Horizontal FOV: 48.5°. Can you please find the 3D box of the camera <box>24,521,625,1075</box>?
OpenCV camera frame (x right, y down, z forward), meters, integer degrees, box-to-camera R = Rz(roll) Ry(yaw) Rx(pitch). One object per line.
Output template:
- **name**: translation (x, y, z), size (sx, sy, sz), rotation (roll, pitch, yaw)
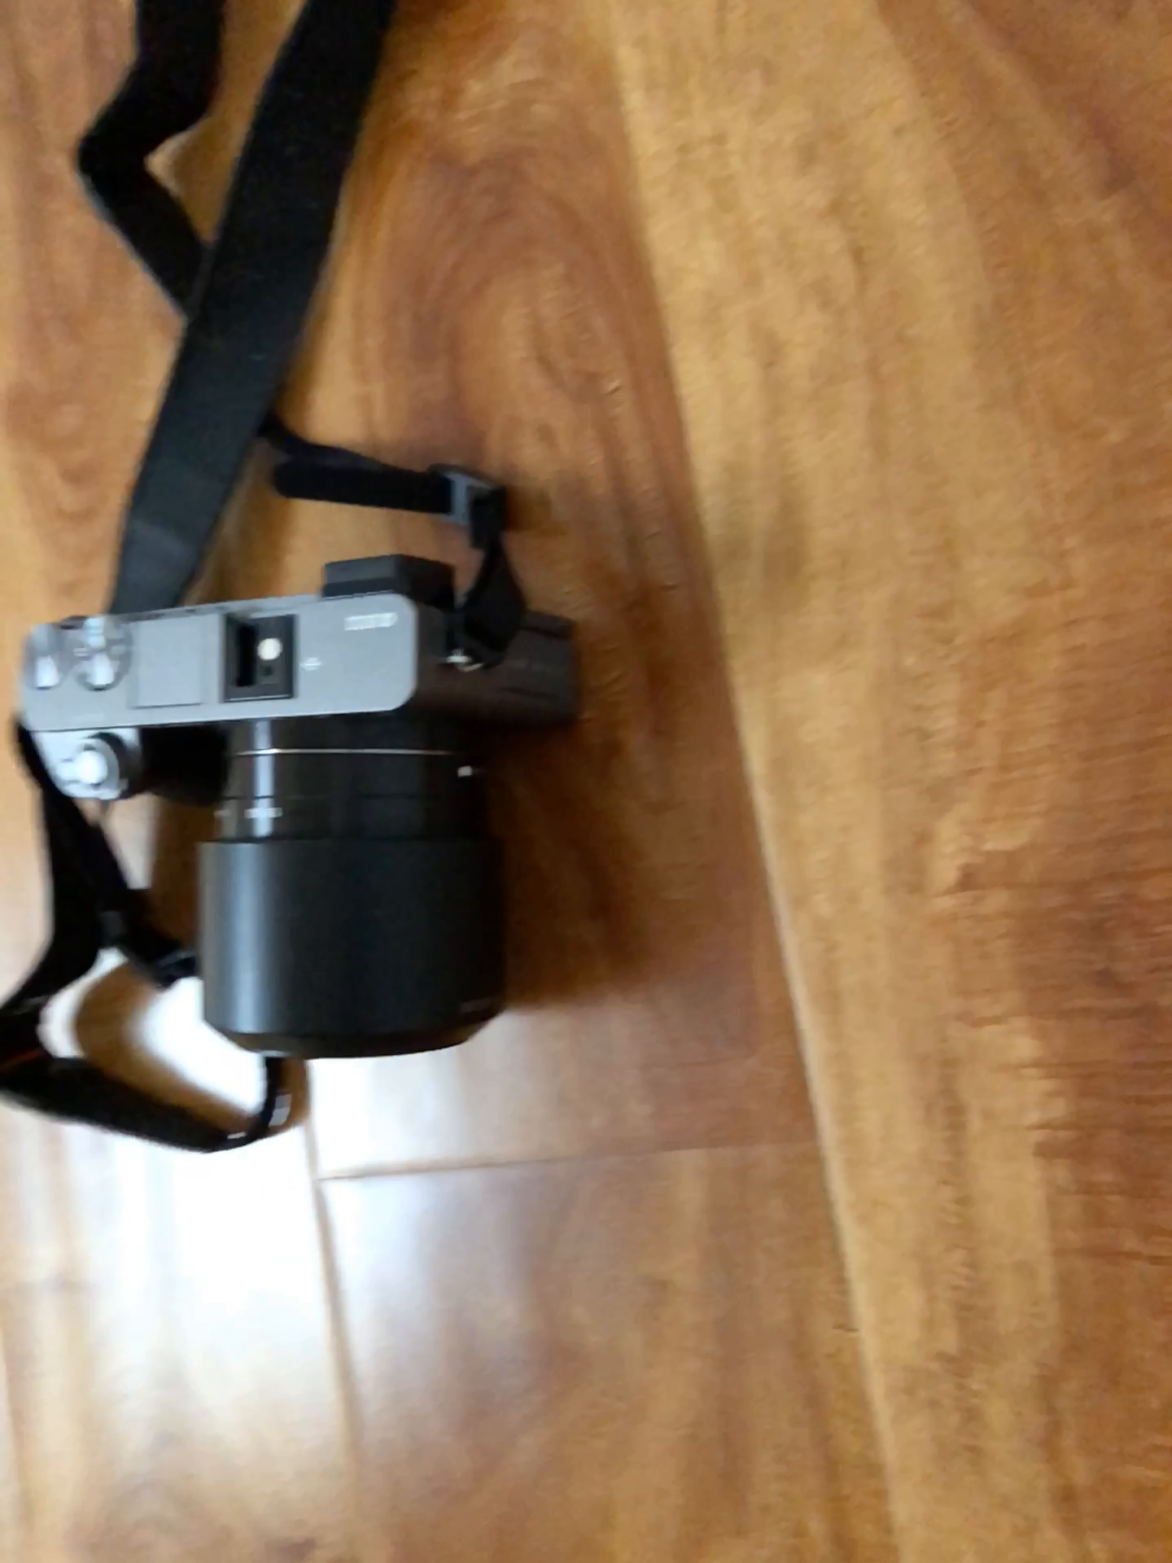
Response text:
- **camera**: translation (-0.065, 0.007, 0.321), size (0.131, 0.070, 0.110), rotation (-3, 87, 29)
